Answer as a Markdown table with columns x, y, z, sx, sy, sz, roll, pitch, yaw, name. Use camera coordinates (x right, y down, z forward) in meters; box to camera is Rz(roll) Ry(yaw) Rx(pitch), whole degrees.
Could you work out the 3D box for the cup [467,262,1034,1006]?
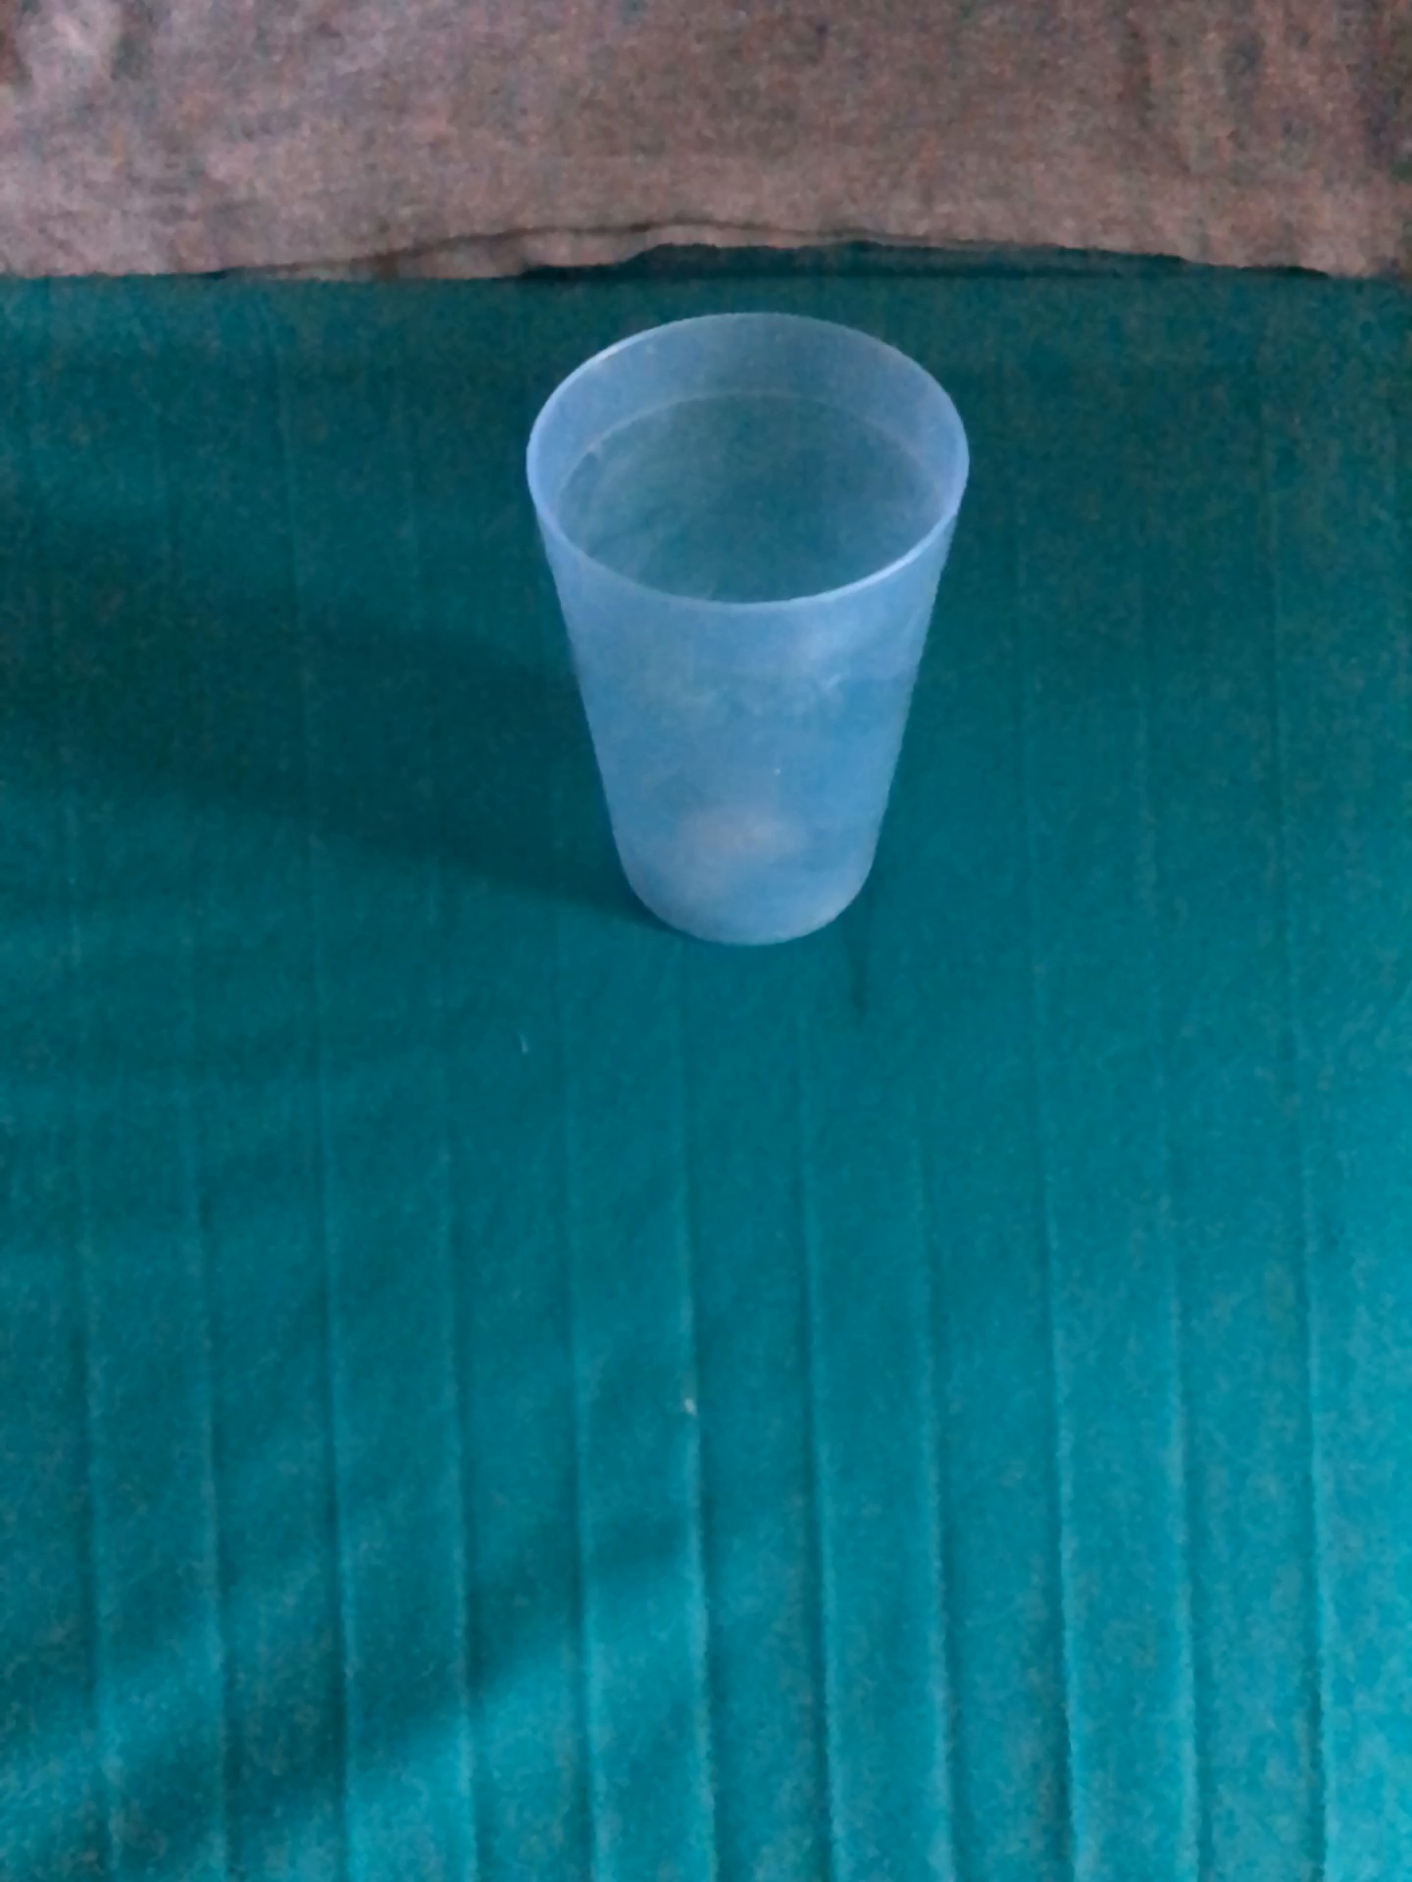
| x | y | z | sx | sy | sz | roll | pitch | yaw | name |
| --- | --- | --- | --- | --- | --- | --- | --- | --- | --- |
| 0.009 | -0.048 | 0.283 | 0.078 | 0.119 | 0.066 | 4 | 60 | 3 | cup |
